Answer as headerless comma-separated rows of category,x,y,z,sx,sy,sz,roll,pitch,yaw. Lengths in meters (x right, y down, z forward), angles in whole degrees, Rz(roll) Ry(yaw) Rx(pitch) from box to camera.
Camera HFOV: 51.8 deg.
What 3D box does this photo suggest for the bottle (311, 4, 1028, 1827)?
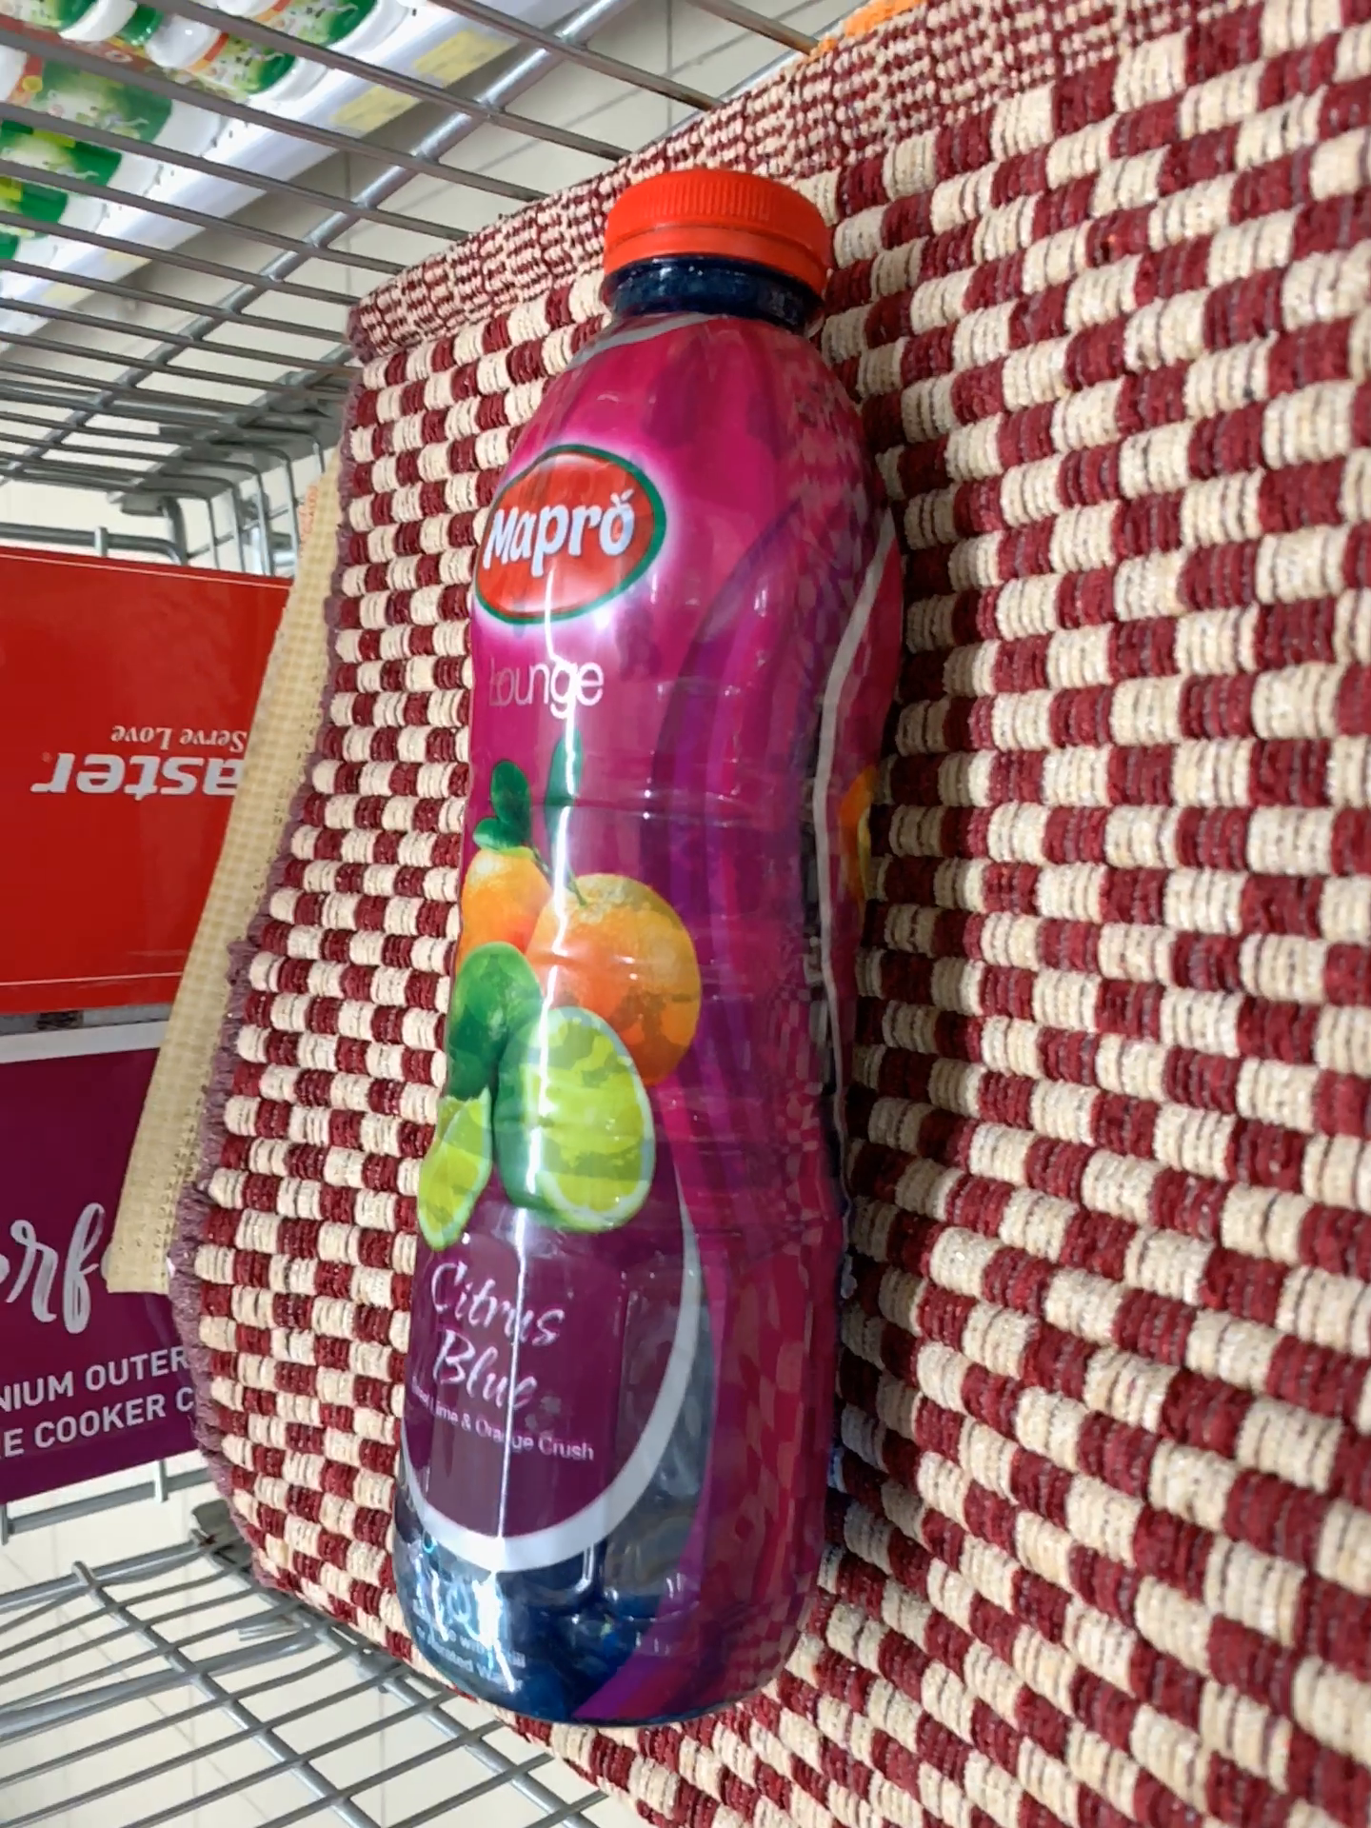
bottle,-0.004,0.009,0.238,0.090,0.070,0.250,5,98,37
